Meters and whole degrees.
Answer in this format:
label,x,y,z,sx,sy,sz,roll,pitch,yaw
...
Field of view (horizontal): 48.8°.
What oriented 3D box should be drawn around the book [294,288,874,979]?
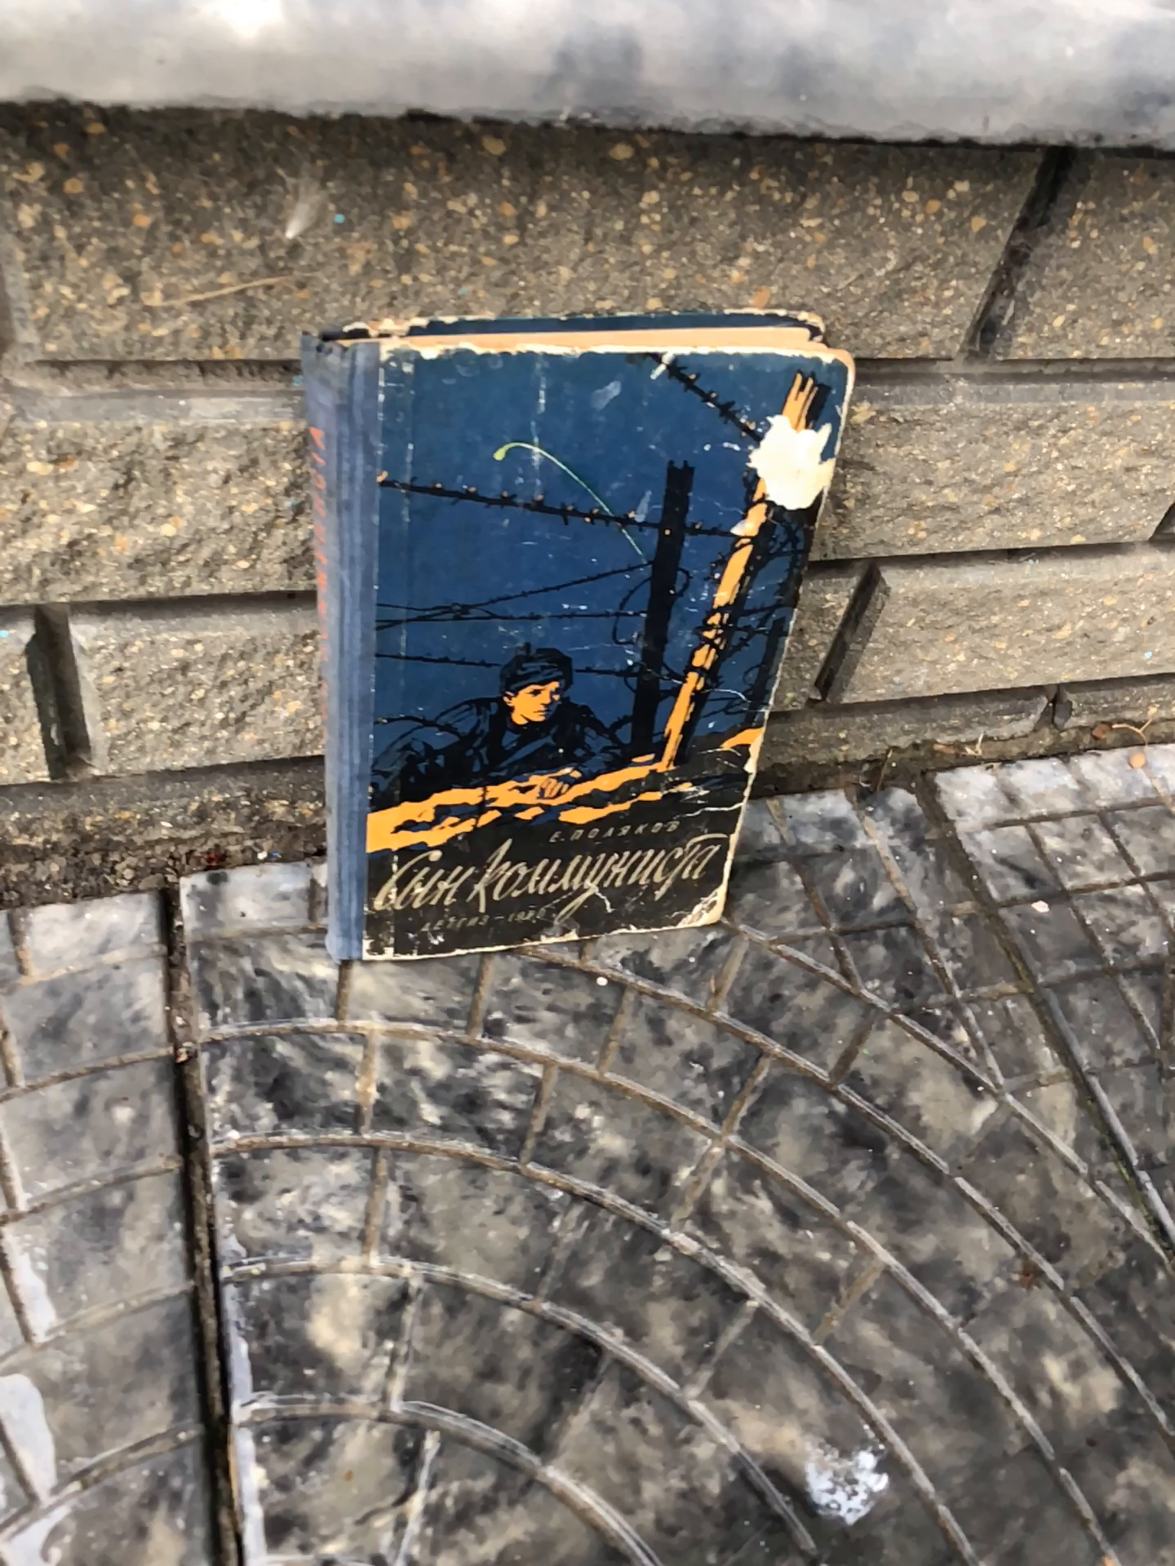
label,x,y,z,sx,sy,sz,roll,pitch,yaw
book,-0.011,-0.036,0.382,0.140,0.199,0.040,-5,38,-16
